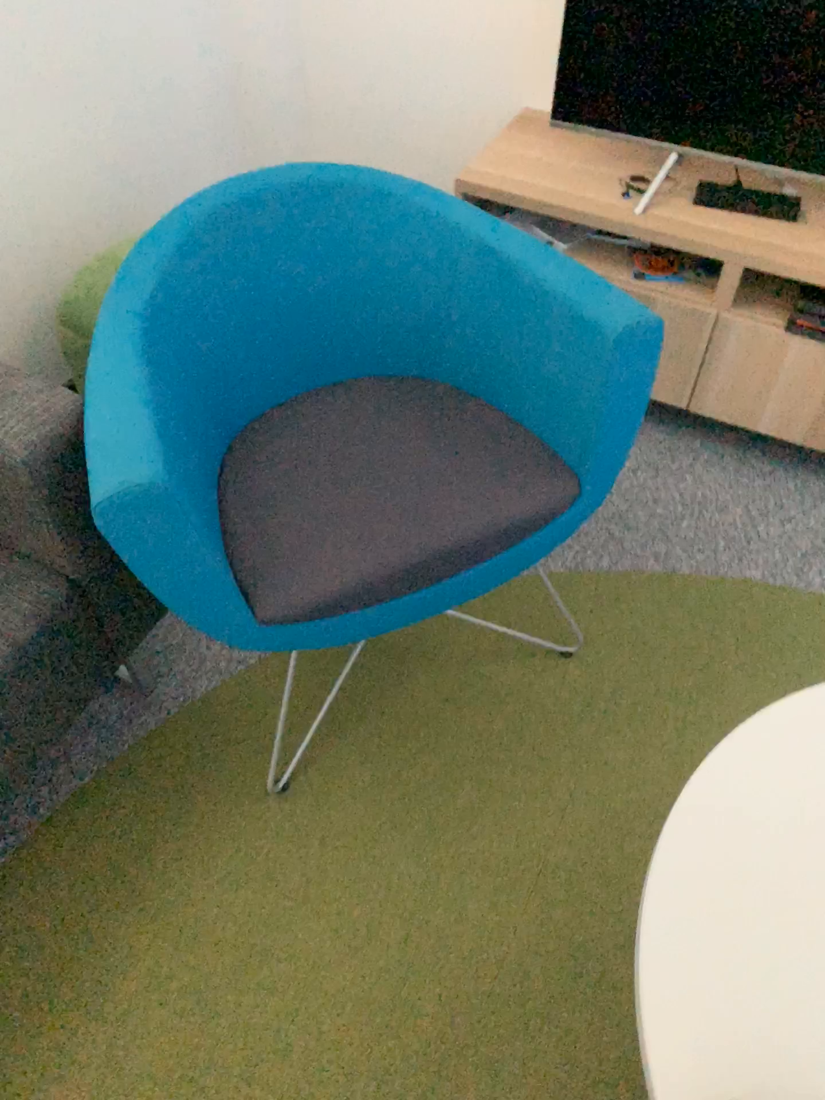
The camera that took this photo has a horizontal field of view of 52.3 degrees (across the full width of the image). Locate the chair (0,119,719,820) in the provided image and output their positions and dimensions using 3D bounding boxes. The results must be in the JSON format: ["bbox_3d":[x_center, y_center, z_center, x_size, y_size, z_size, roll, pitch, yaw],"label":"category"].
[{"bbox_3d":[-0.106,-0.143,1.352,0.761,0.687,0.622,-22,53,-18],"label":"chair"}]
